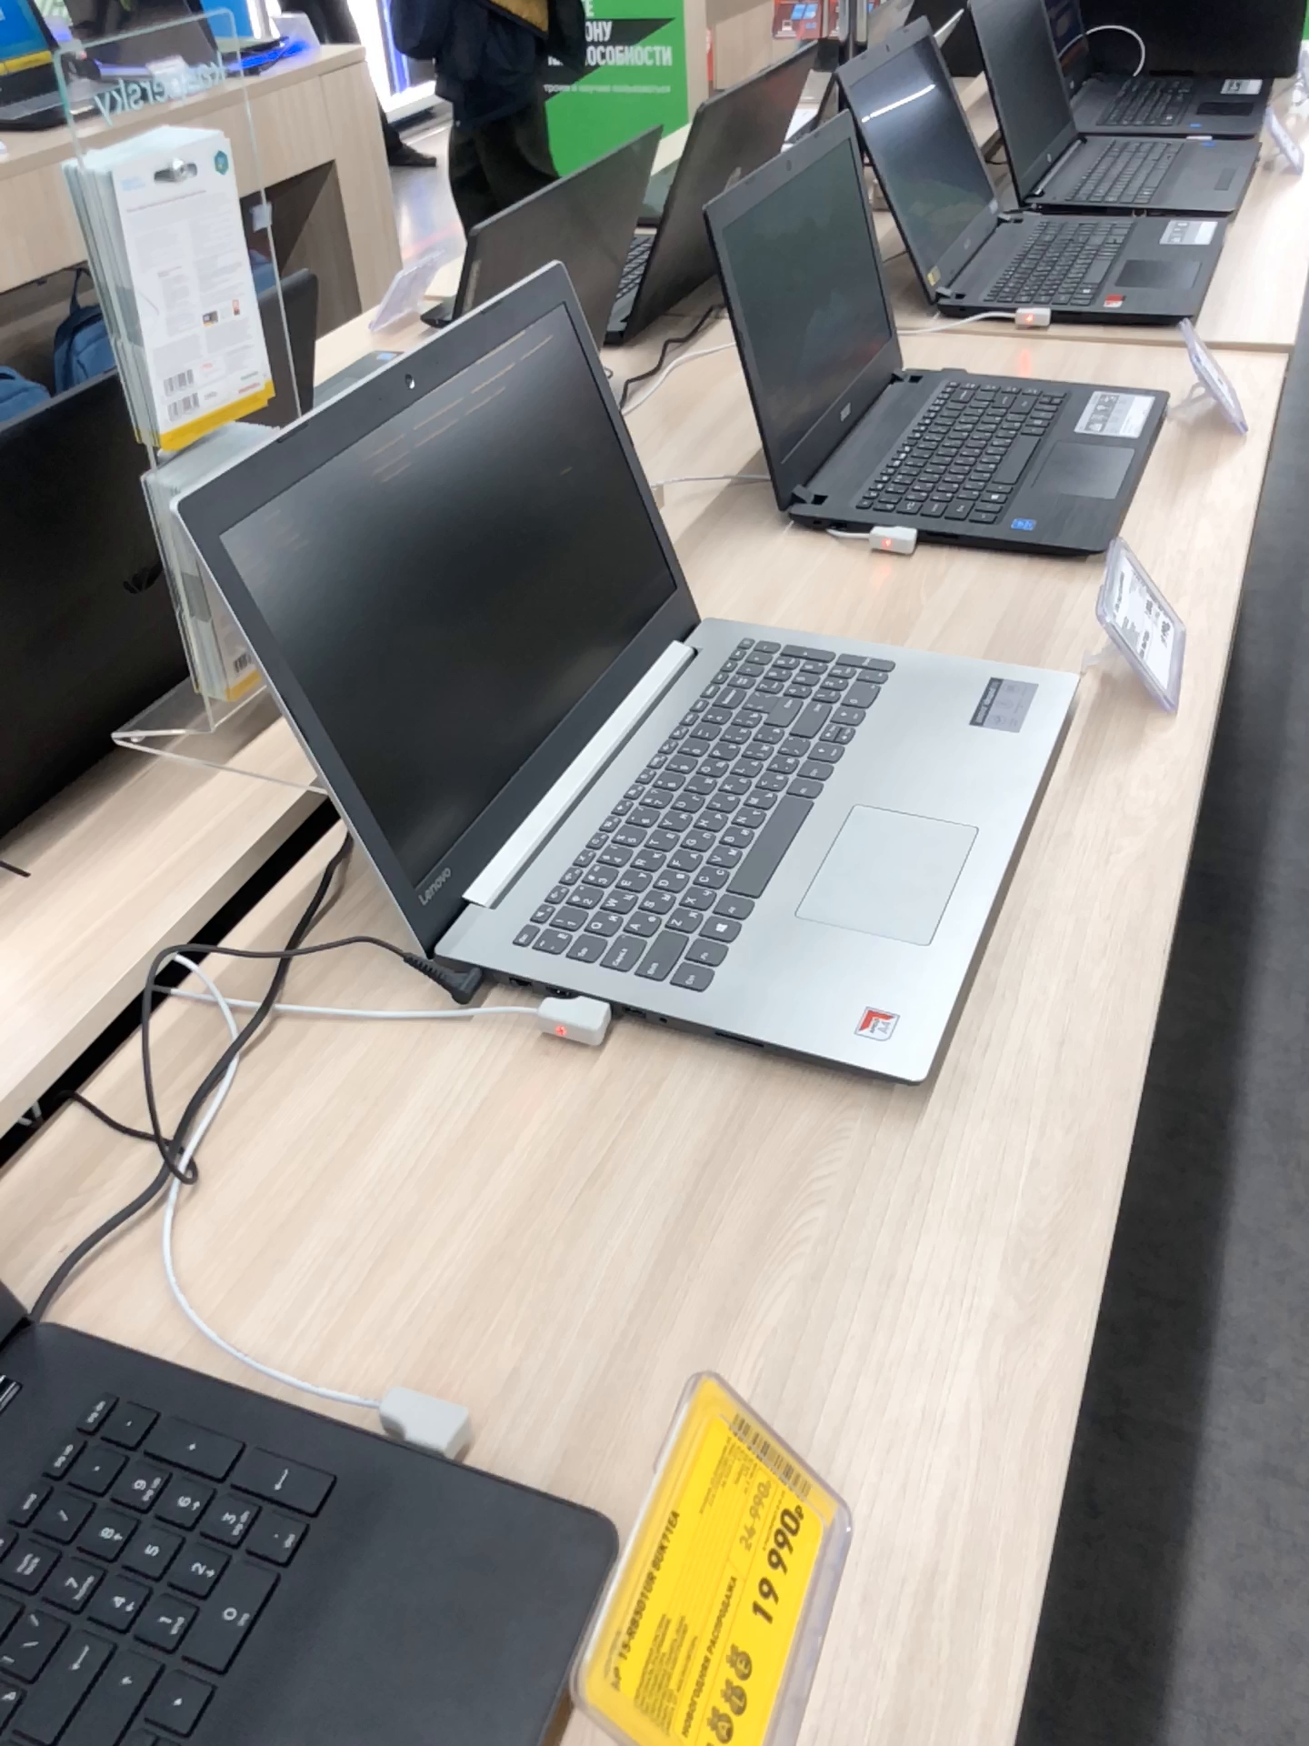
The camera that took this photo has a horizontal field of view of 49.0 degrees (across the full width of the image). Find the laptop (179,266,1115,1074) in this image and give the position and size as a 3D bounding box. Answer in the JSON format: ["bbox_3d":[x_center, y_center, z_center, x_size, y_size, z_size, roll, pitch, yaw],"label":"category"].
[{"bbox_3d":[0.030,-0.146,0.778,0.343,0.235,0.381,12,40,20],"label":"laptop"}]
